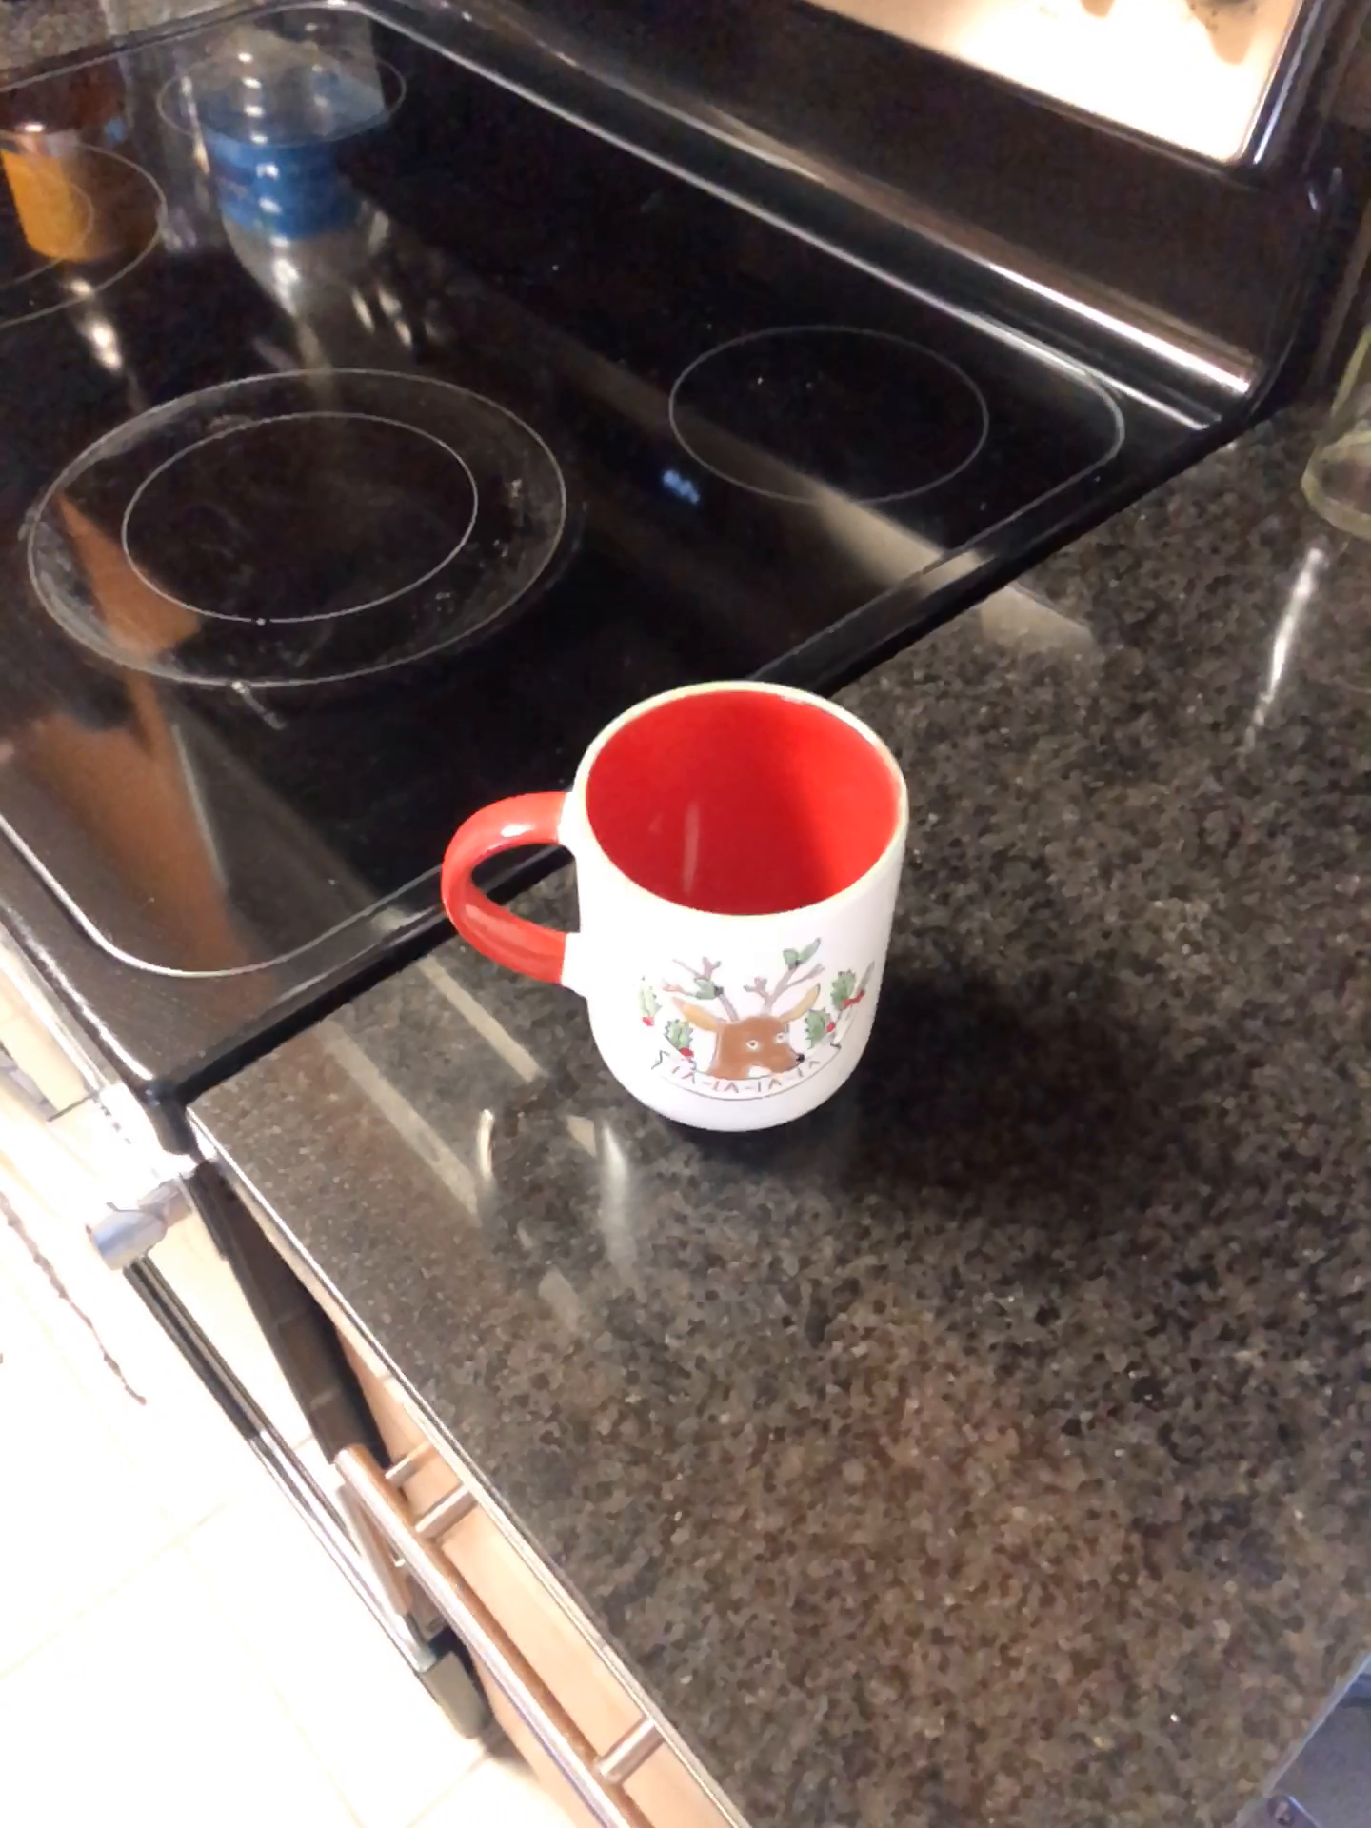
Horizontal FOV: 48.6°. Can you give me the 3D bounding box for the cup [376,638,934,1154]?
[{"bbox_3d":[-0.006,-0.003,0.424,0.130,0.110,0.090,2,49,1],"label":"cup"}]
